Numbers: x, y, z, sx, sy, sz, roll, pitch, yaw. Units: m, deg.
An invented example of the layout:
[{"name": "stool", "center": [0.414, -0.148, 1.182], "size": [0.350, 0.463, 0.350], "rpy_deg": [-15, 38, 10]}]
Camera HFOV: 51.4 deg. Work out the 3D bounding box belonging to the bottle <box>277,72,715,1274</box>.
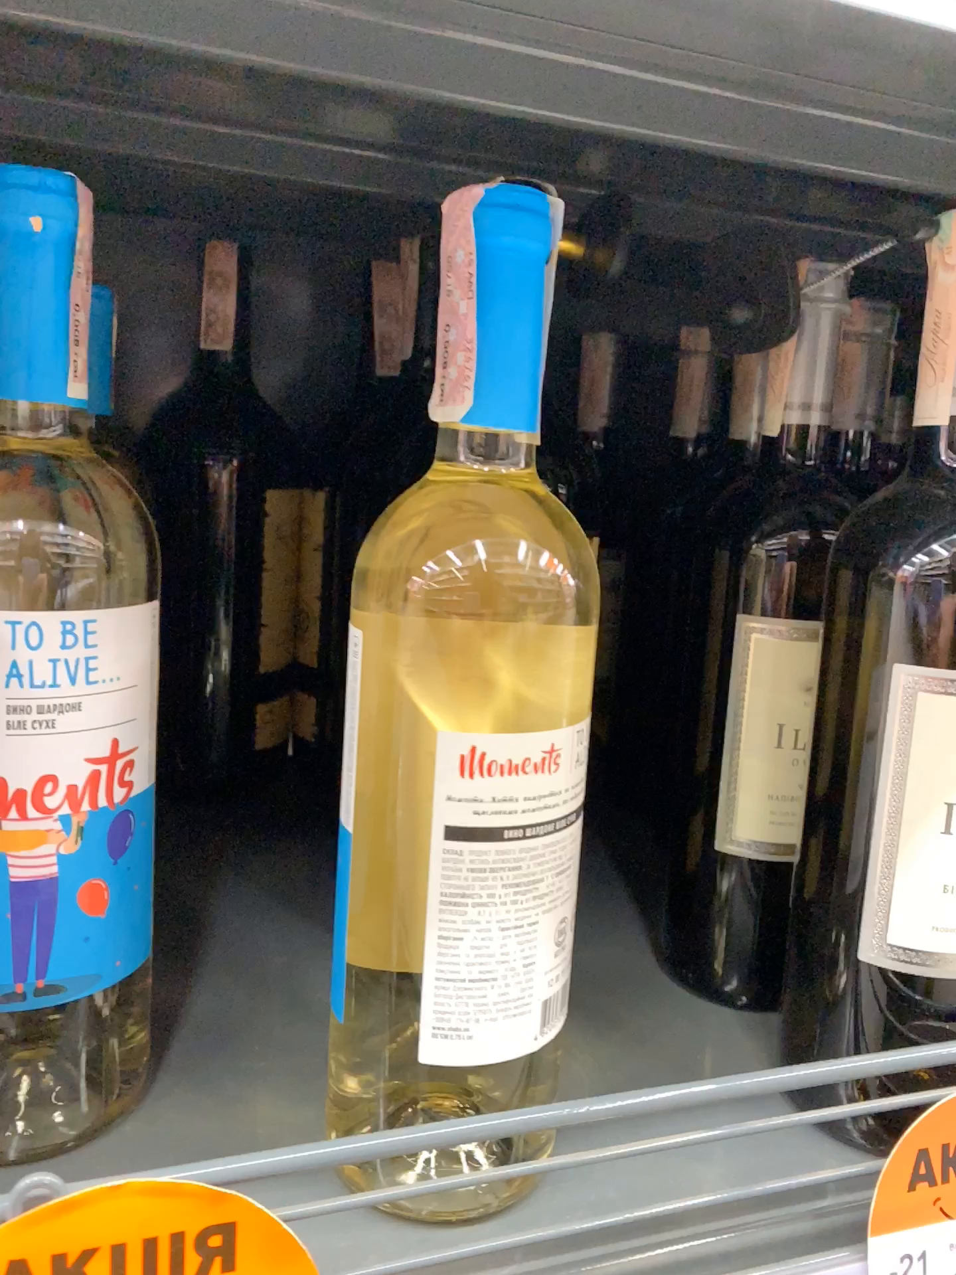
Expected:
[{"name": "bottle", "center": [-0.002, 0.015, 0.309], "size": [0.080, 0.314, 0.081], "rpy_deg": [4, 10, -1]}]
